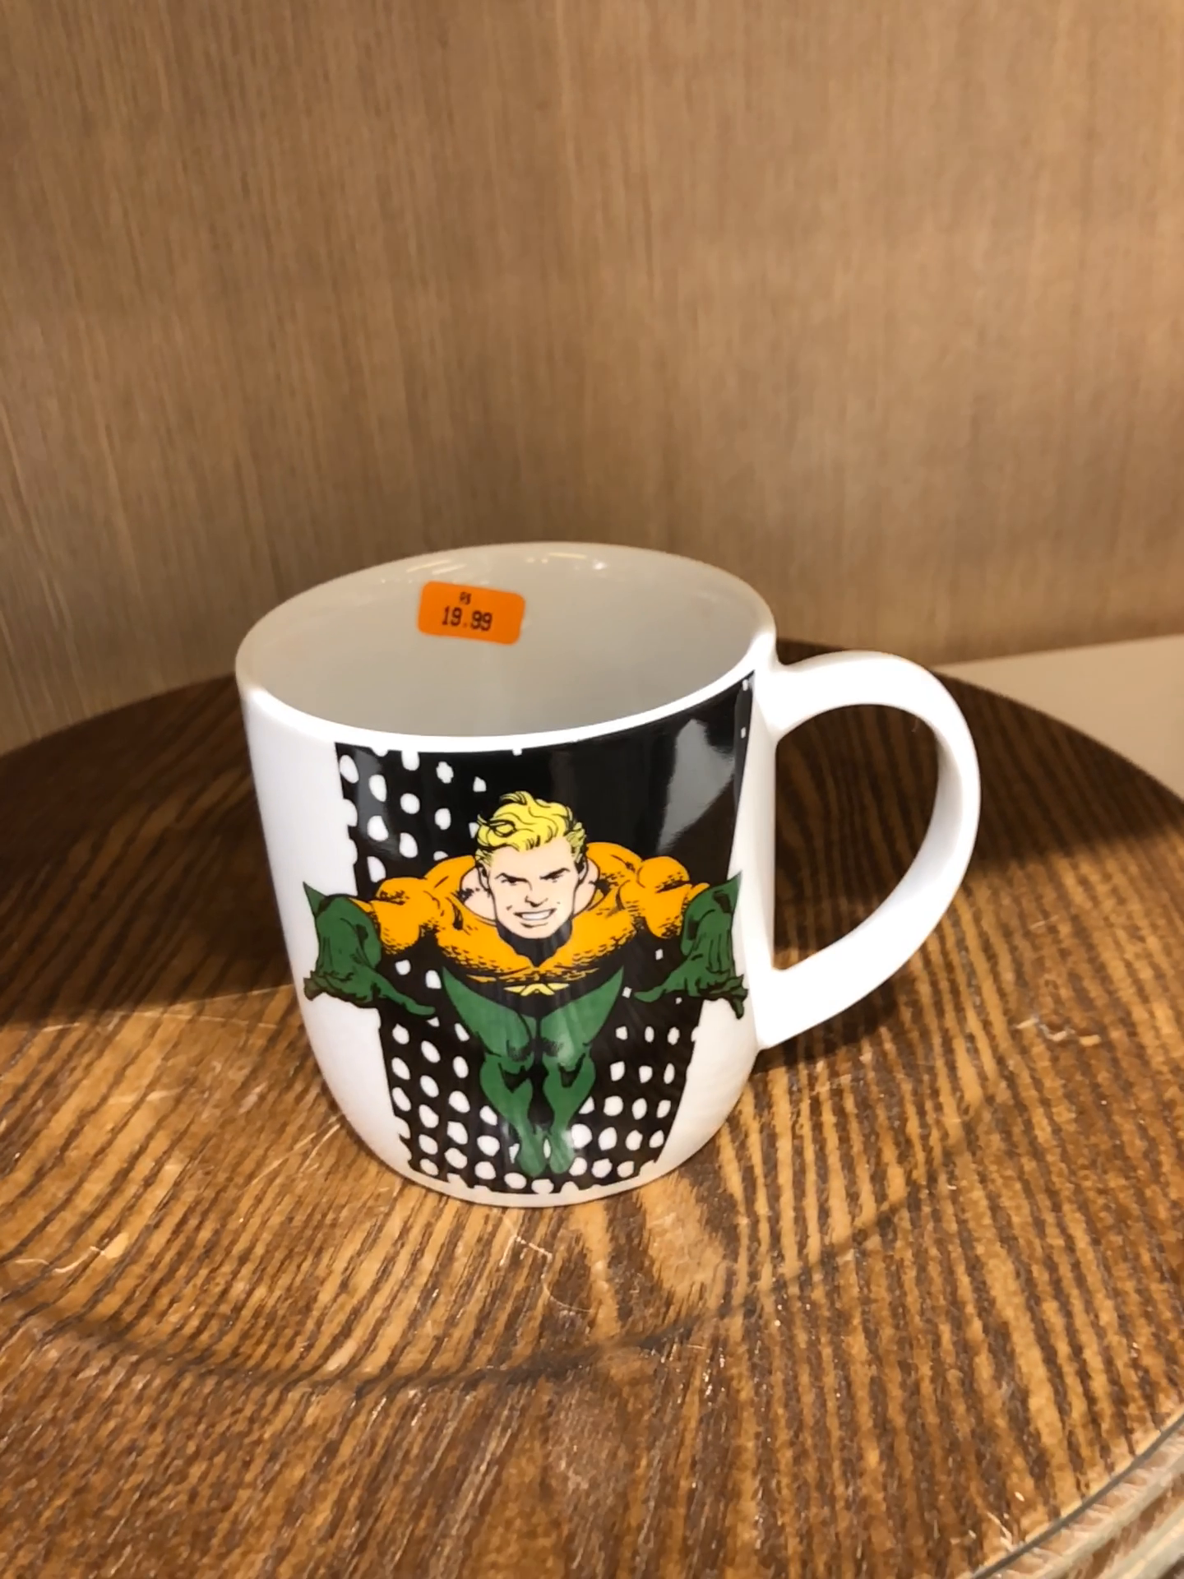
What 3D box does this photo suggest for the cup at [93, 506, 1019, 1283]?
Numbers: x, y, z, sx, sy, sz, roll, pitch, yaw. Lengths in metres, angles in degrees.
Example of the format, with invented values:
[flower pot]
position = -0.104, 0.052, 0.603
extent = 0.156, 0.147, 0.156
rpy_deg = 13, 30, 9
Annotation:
[cup]
position = -0.003, 0.012, 0.231
extent = 0.120, 0.089, 0.091
rpy_deg = -6, 26, -1
